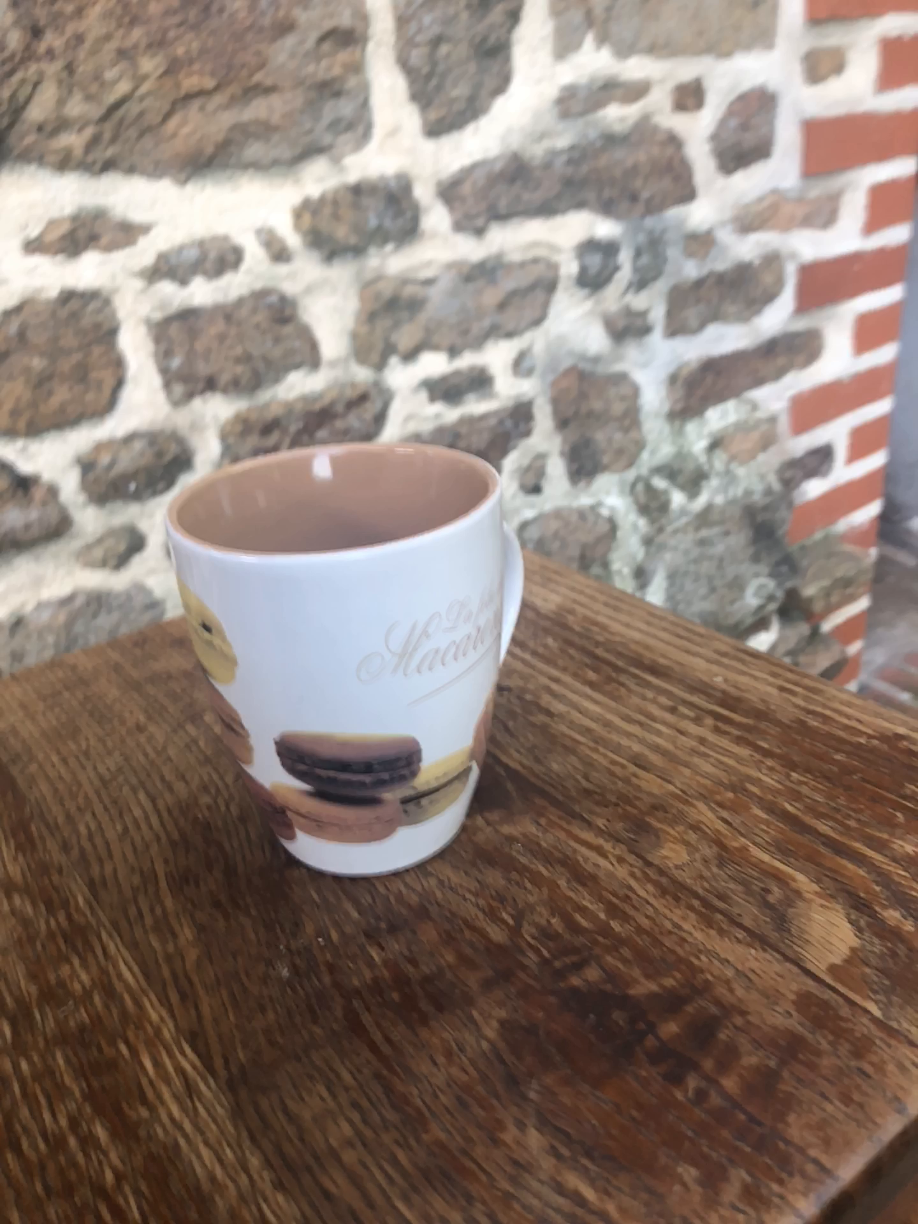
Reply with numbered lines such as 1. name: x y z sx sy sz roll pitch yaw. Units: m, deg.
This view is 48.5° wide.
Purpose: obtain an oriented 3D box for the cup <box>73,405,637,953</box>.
1. cup: -0.020 0.007 0.295 0.093 0.090 0.124 16 34 34
